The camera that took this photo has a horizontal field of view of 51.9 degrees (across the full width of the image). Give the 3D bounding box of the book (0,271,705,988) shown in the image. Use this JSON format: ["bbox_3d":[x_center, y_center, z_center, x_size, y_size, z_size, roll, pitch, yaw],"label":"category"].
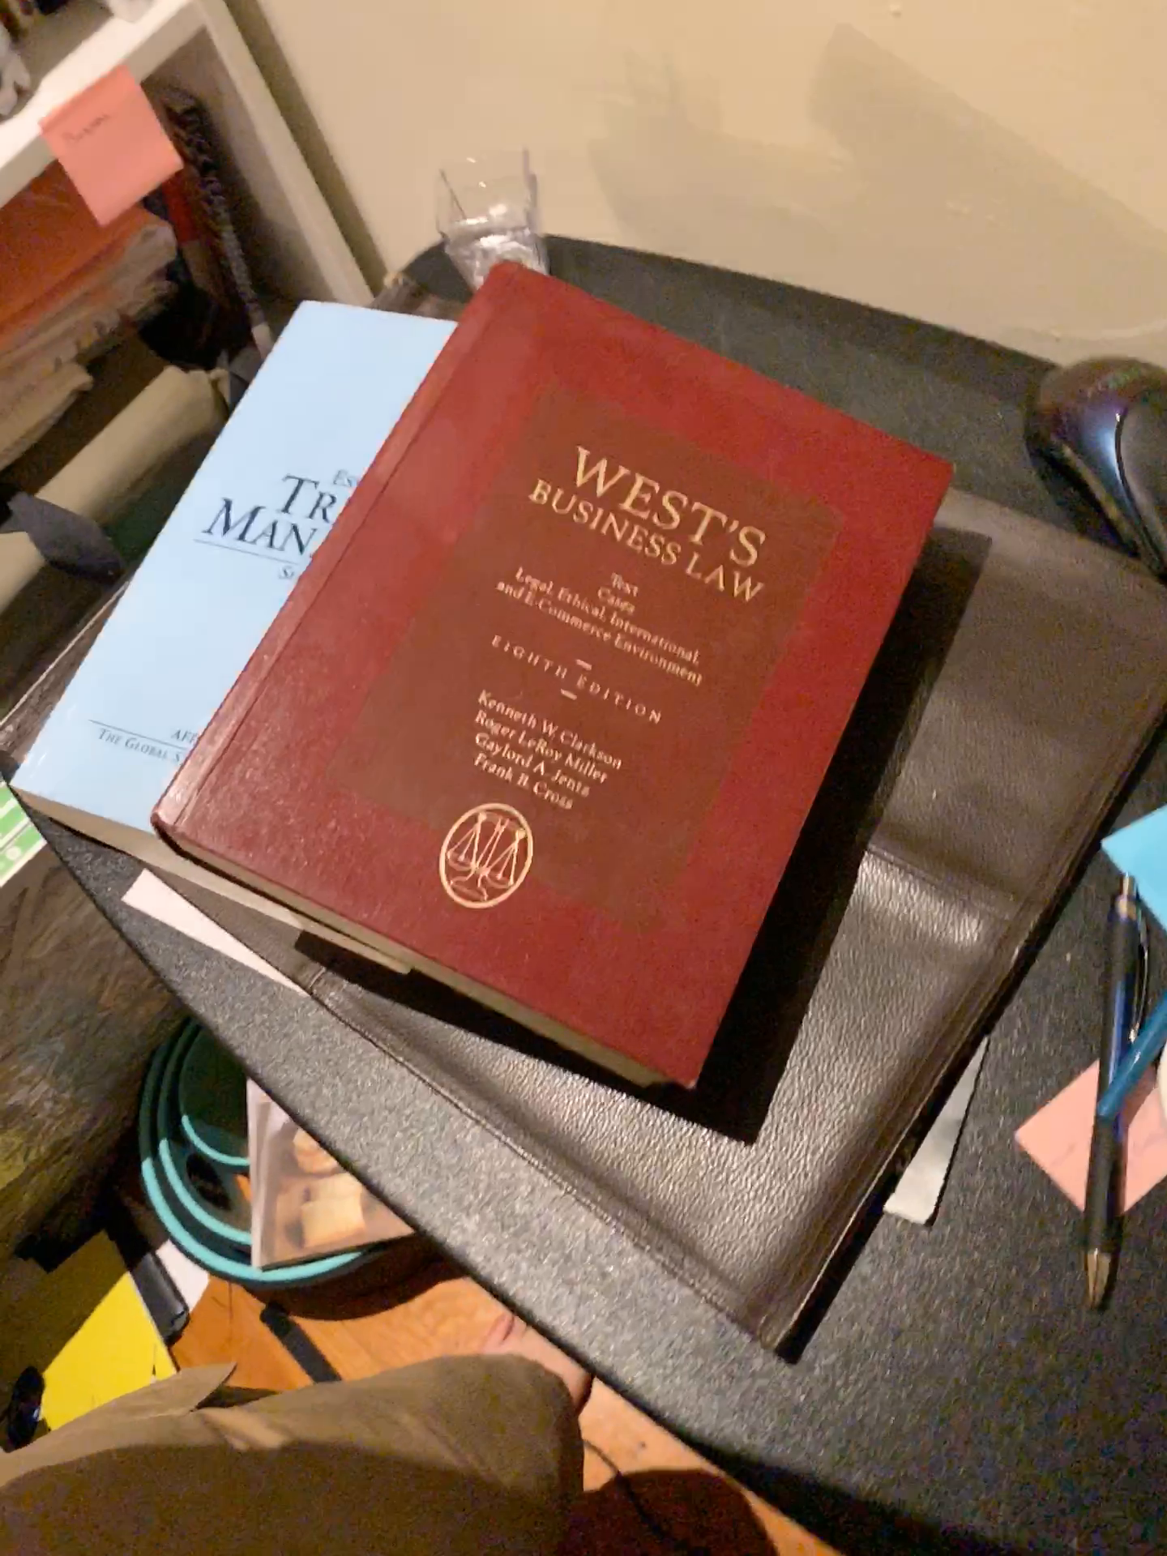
[{"bbox_3d":[-0.106,-0.081,0.518,0.221,0.070,0.270,18,70,24],"label":"book"}]

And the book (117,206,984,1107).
[{"bbox_3d":[0.000,-0.052,0.442,0.210,0.050,0.270,26,71,0],"label":"book"}]
